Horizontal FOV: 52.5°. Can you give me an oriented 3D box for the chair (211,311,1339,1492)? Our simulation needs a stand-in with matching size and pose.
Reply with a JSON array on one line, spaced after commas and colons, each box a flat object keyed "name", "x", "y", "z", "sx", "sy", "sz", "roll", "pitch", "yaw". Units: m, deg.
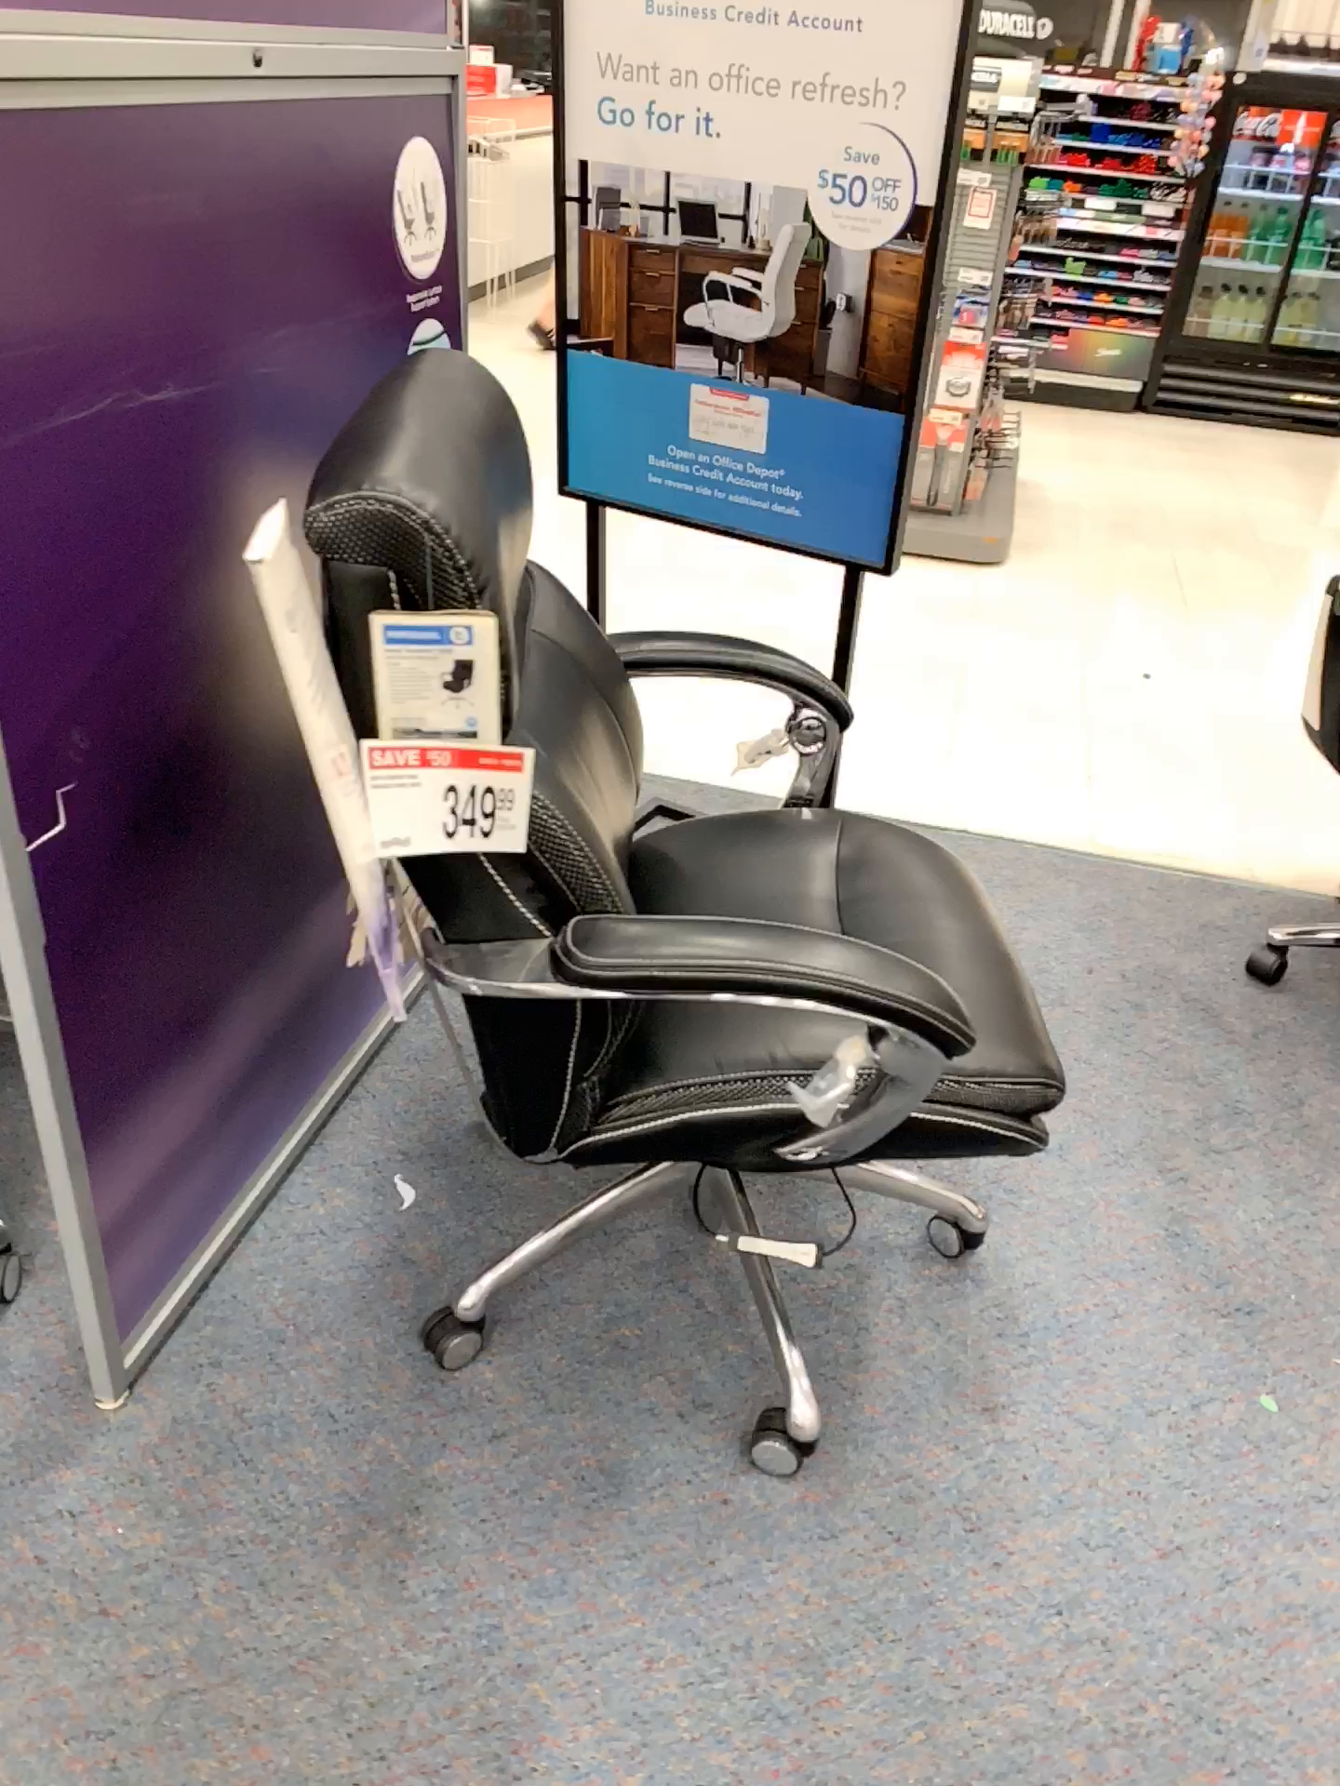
[{"name": "chair", "x": 0.063, "y": -0.013, "z": 1.435, "sx": 0.781, "sy": 0.946, "sz": 0.742, "roll": 4, "pitch": 32, "yaw": -3}]
